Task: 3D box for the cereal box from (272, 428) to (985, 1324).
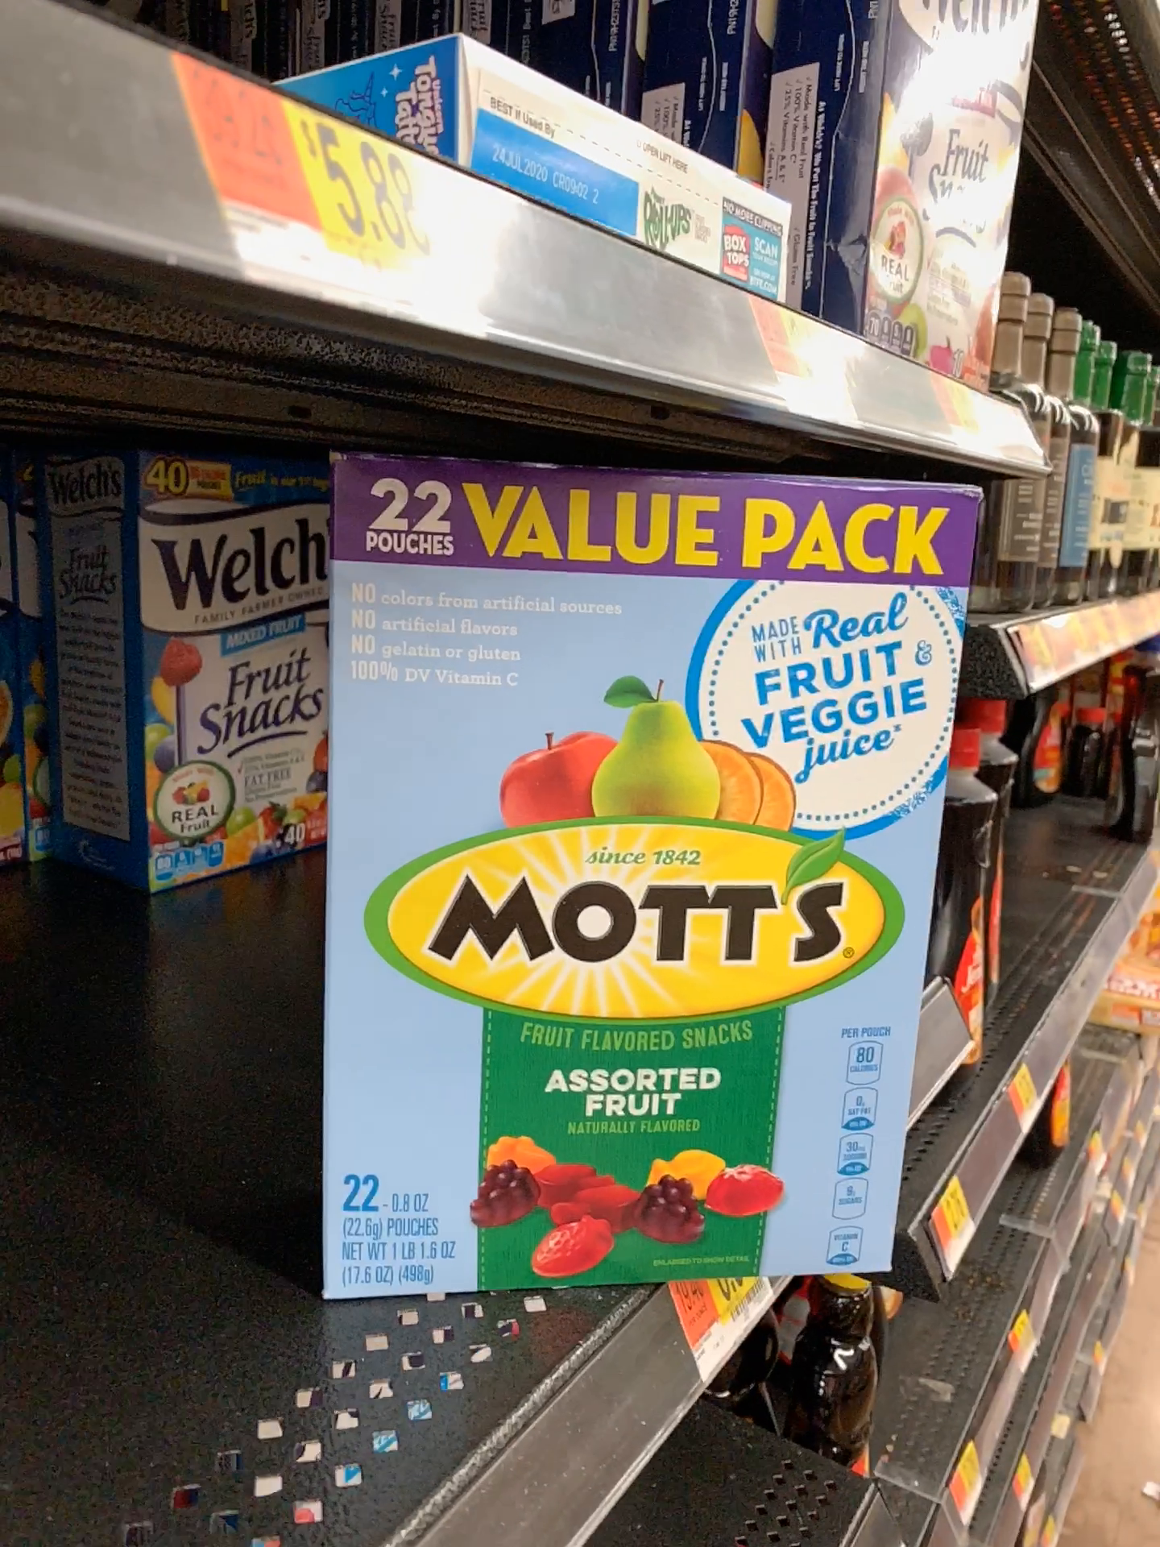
[{"bbox_3d":[0.005,0.031,0.351,0.180,0.239,0.060,1,12,-10],"label":"cereal box"}]
